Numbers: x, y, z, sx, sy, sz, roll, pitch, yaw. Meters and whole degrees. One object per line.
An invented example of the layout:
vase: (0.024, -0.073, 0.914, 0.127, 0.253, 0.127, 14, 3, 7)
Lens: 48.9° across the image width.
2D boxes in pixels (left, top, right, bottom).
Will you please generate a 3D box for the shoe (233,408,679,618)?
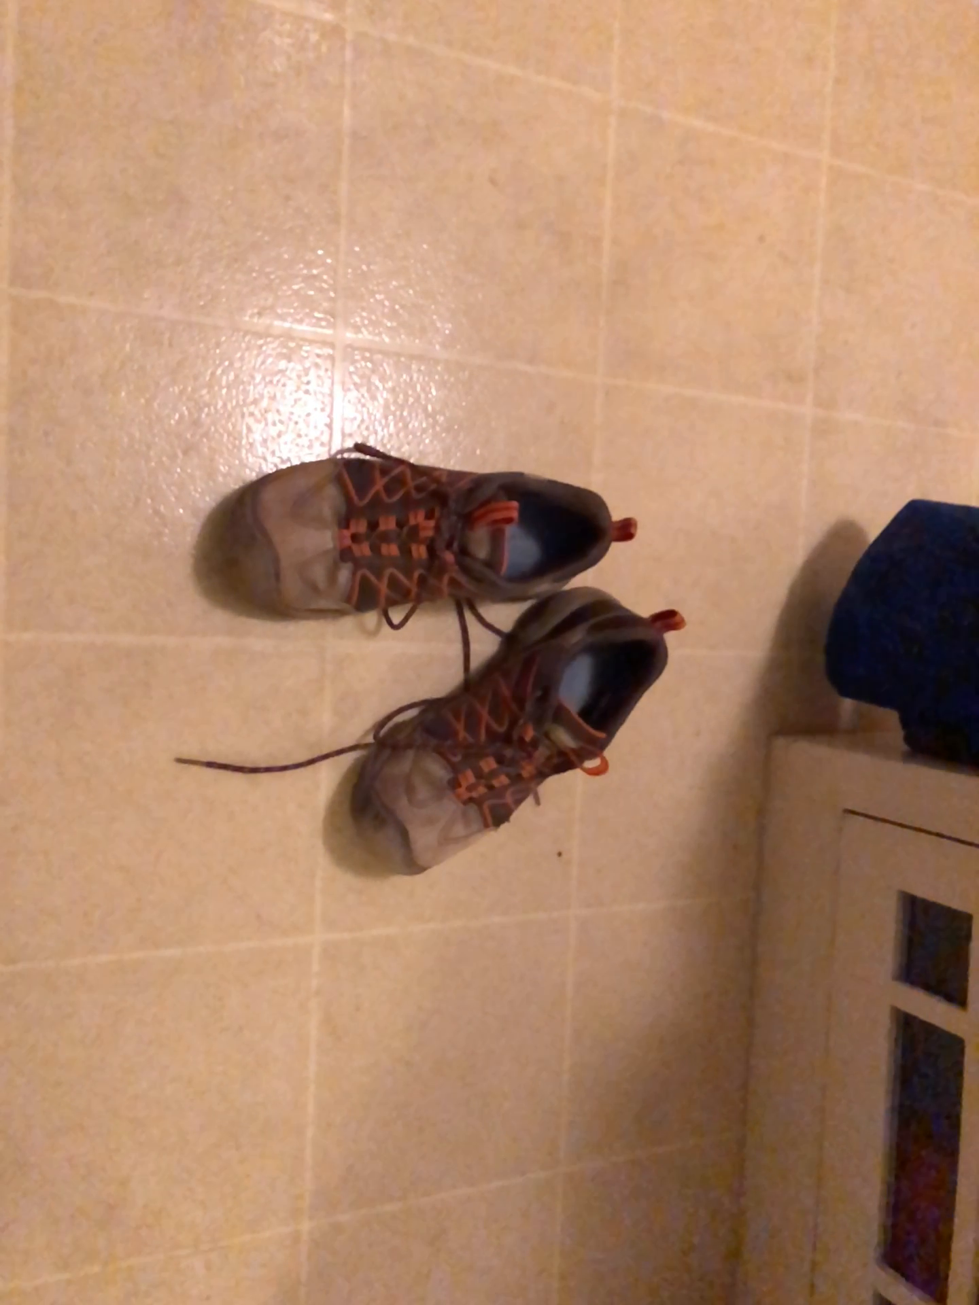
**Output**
shoe: (-0.022, -0.094, 0.771, 0.293, 0.122, 0.127, -2, 95, -25)

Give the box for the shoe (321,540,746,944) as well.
shoe: (0.034, 0.055, 0.814, 0.282, 0.122, 0.127, -44, 110, -16)
